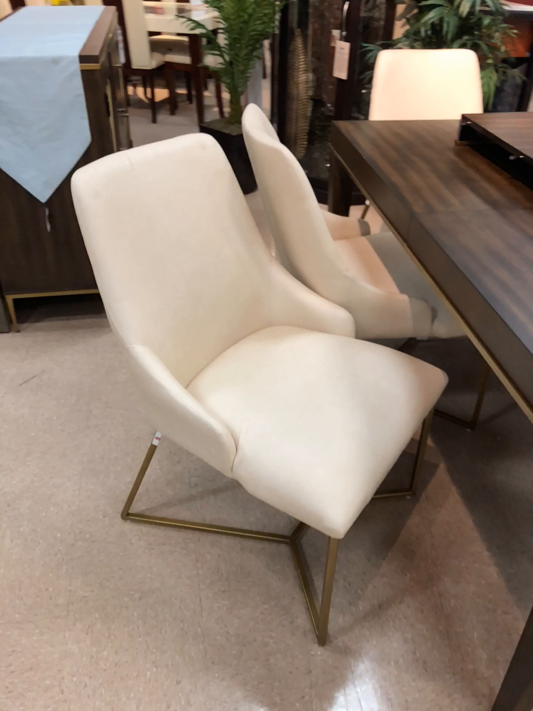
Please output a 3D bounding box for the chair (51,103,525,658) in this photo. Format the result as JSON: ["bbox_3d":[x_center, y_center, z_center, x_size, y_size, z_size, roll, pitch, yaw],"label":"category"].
[{"bbox_3d":[0.043,0.020,1.286,0.642,0.903,0.542,23,40,28],"label":"chair"}]
